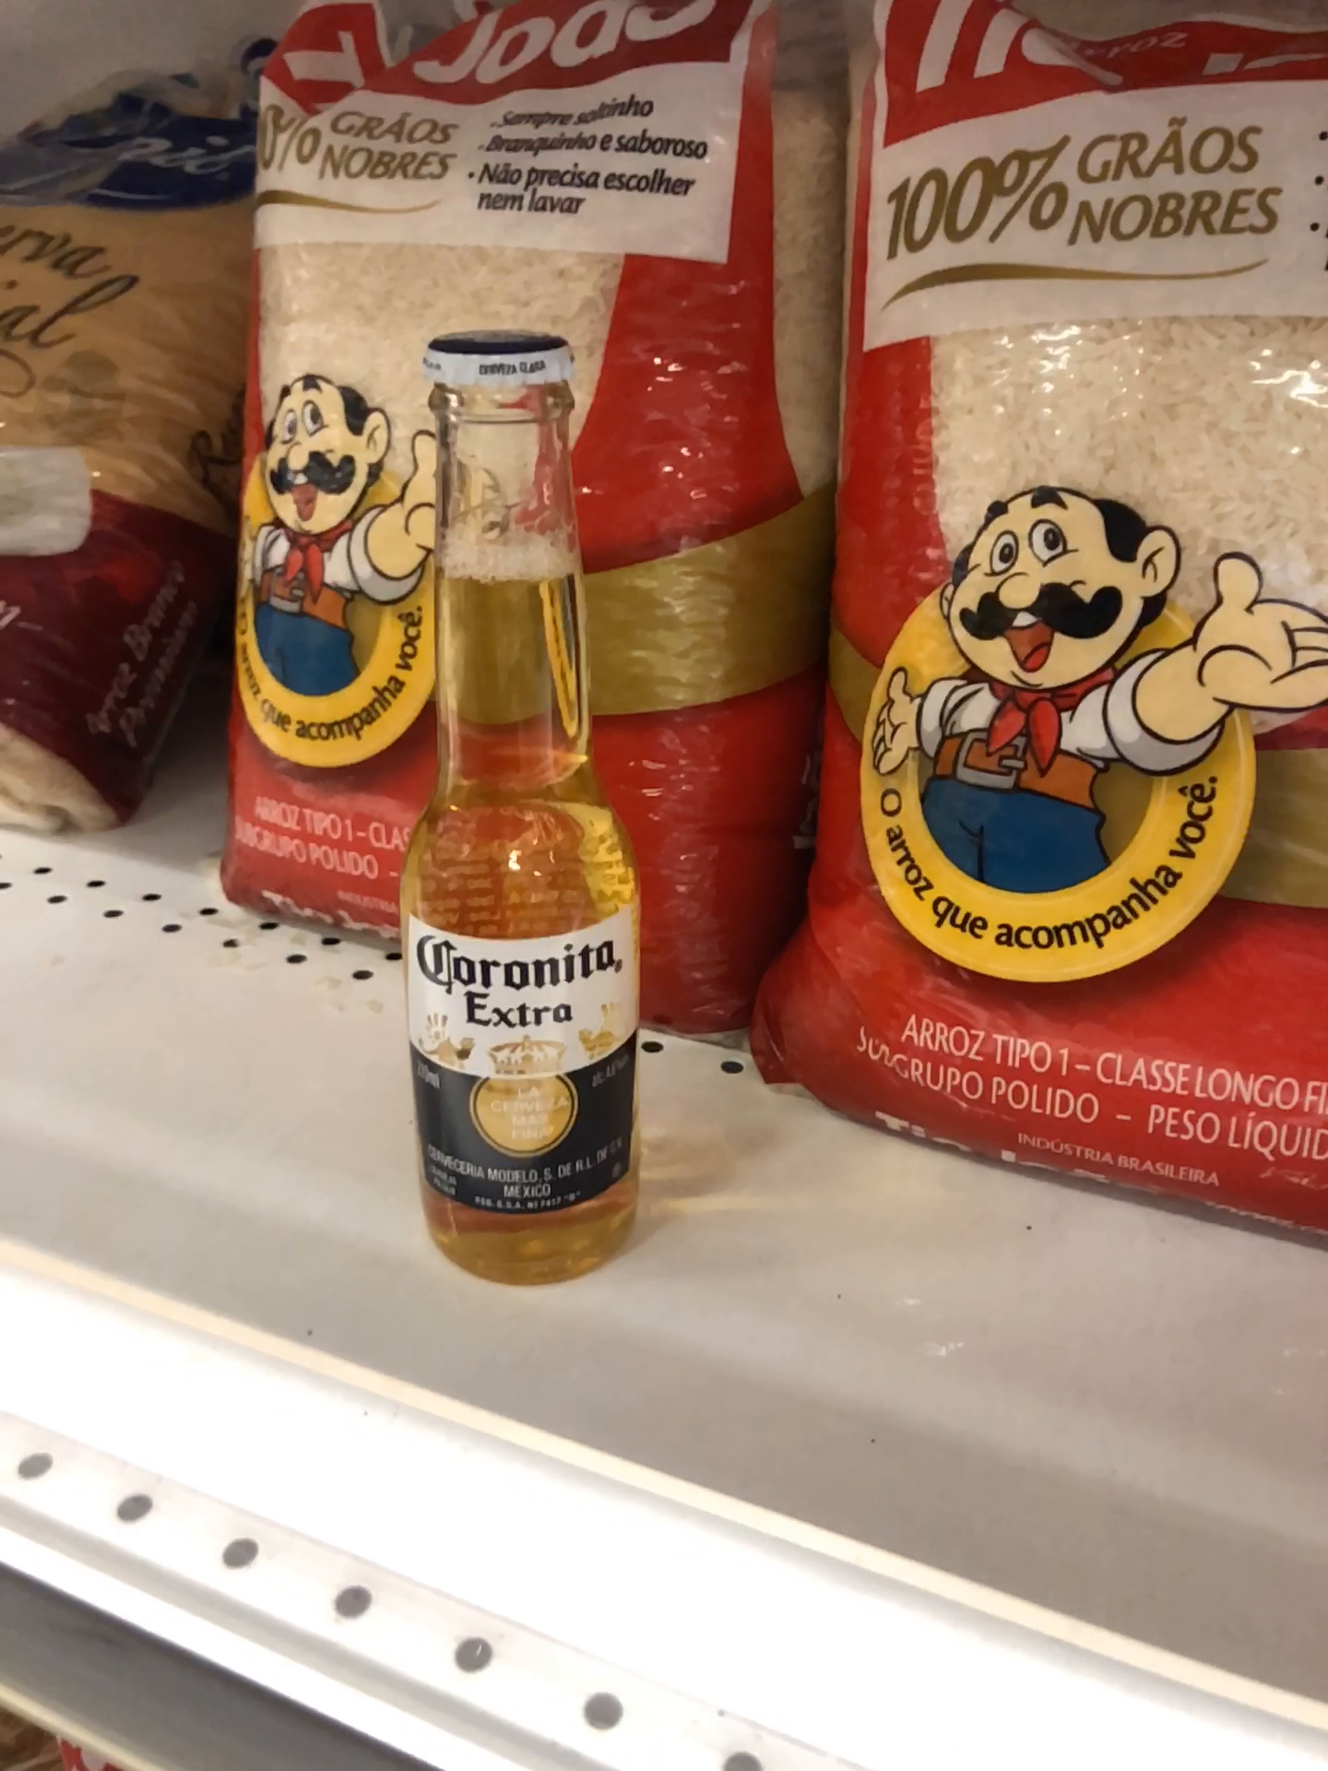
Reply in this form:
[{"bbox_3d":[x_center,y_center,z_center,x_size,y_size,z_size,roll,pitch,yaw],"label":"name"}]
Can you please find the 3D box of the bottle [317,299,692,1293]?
[{"bbox_3d":[-0.026,-0.013,0.308,0.060,0.198,0.060,0,27,0],"label":"bottle"}]
